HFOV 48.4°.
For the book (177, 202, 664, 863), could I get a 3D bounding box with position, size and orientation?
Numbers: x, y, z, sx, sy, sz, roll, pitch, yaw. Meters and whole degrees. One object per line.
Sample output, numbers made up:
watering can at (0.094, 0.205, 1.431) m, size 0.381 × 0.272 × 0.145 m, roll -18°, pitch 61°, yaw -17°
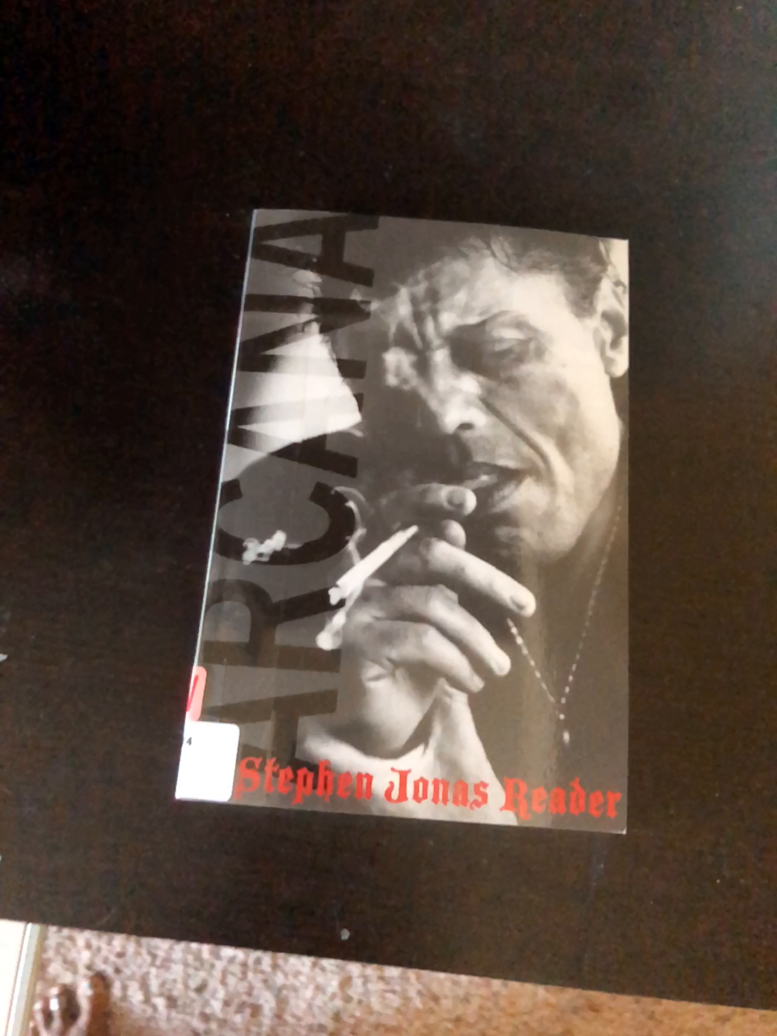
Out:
book at (0.021, -0.003, 0.360) m, size 0.179 × 0.024 × 0.260 m, roll 4°, pitch 76°, yaw -1°
